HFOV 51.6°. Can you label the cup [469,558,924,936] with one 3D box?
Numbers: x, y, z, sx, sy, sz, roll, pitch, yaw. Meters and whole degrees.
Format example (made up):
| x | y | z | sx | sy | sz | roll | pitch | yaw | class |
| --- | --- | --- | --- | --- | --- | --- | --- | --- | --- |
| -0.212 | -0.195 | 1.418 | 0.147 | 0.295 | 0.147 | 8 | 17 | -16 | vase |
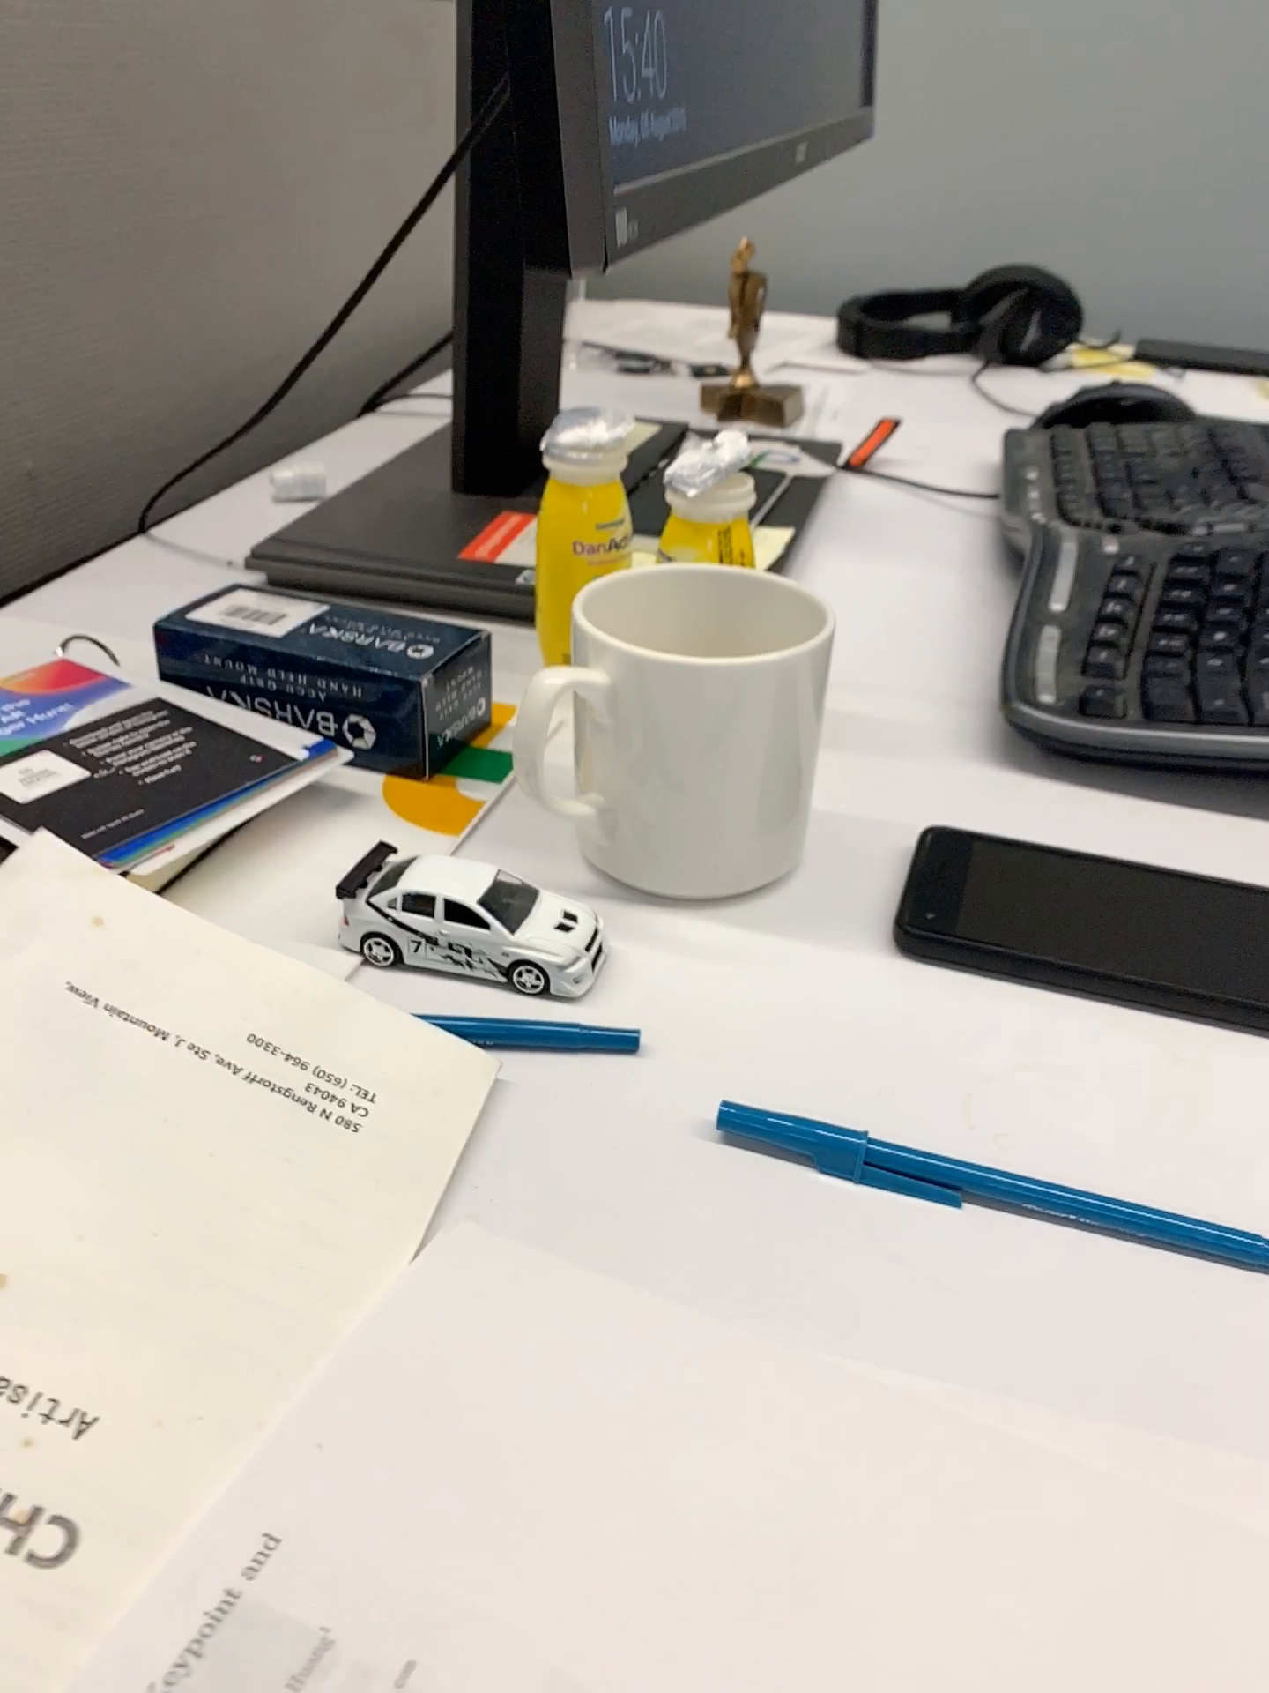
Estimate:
| x | y | z | sx | sy | sz | roll | pitch | yaw | class |
| --- | --- | --- | --- | --- | --- | --- | --- | --- | --- |
| 0.017 | -0.036 | 0.420 | 0.120 | 0.080 | 0.070 | -12 | 34 | -24 | cup |
